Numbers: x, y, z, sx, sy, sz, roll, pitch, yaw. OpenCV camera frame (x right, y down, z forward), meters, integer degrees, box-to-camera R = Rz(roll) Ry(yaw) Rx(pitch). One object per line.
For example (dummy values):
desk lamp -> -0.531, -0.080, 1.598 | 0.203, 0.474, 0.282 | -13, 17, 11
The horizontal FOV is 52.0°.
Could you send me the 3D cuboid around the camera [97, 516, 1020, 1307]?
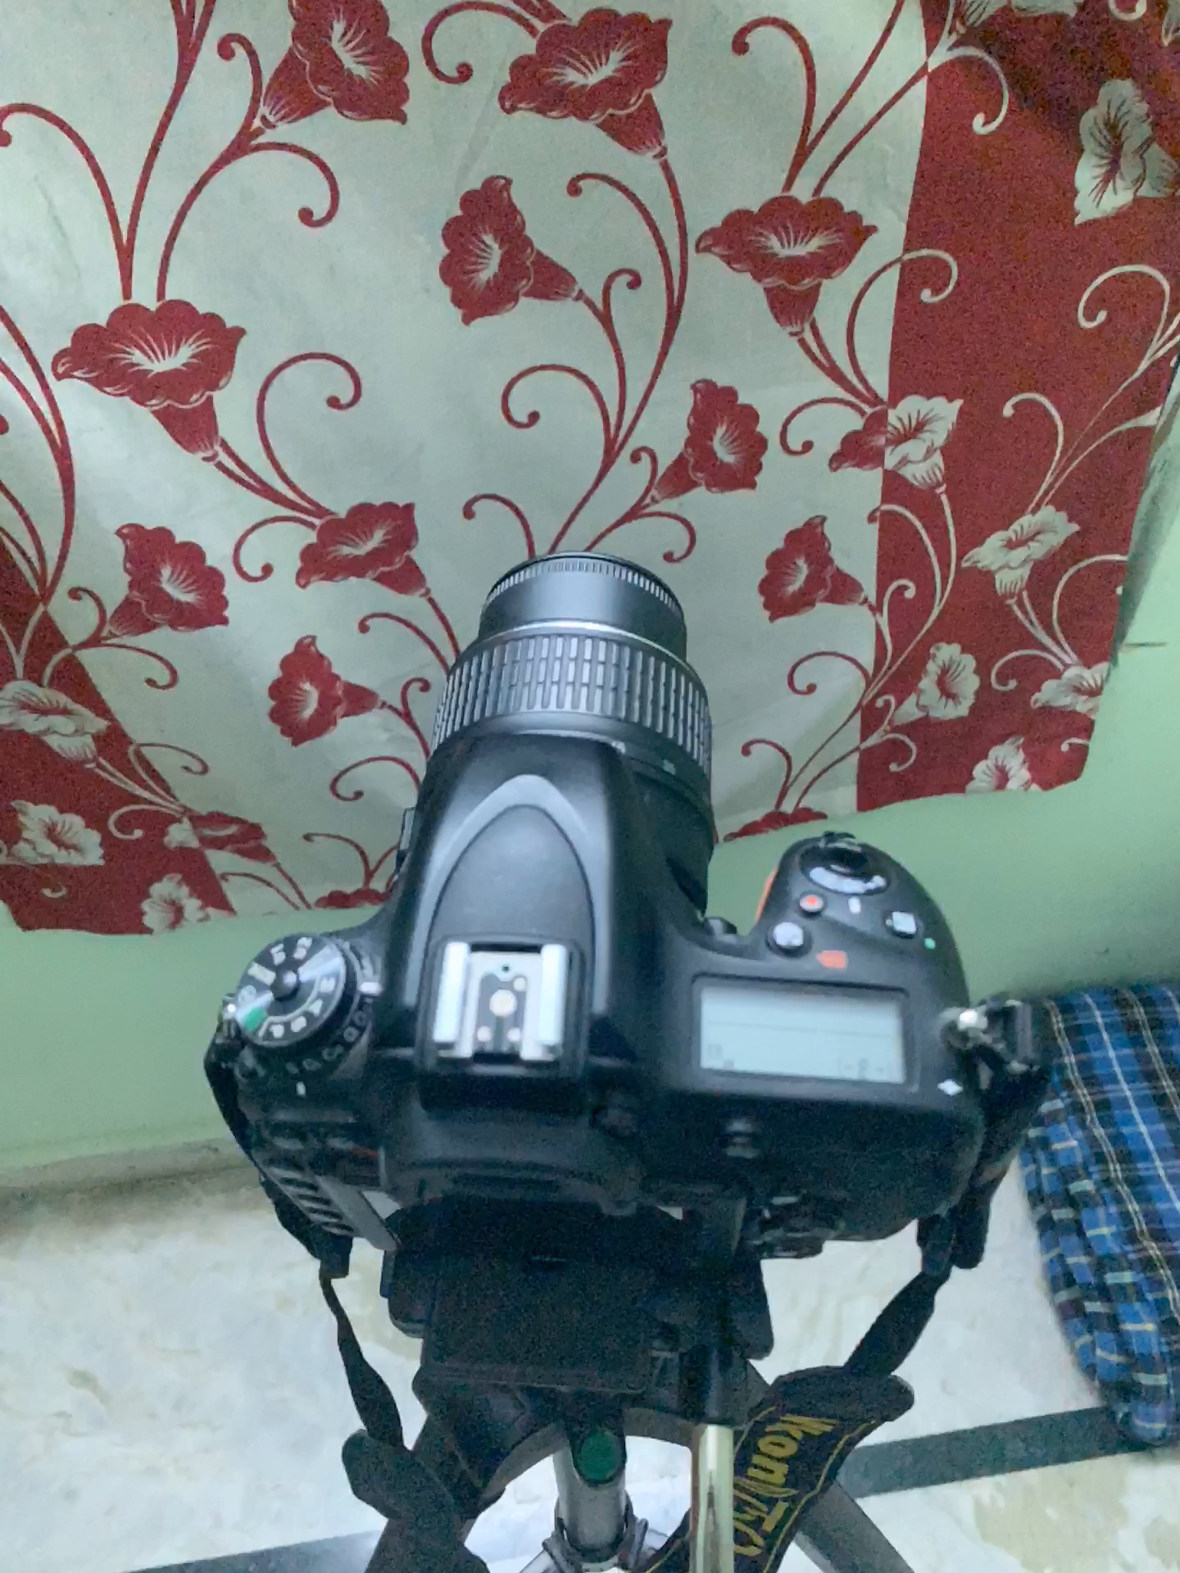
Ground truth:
camera -> -0.002, 0.026, 0.266 | 0.139, 0.112, 0.130 | 1, 49, 3
